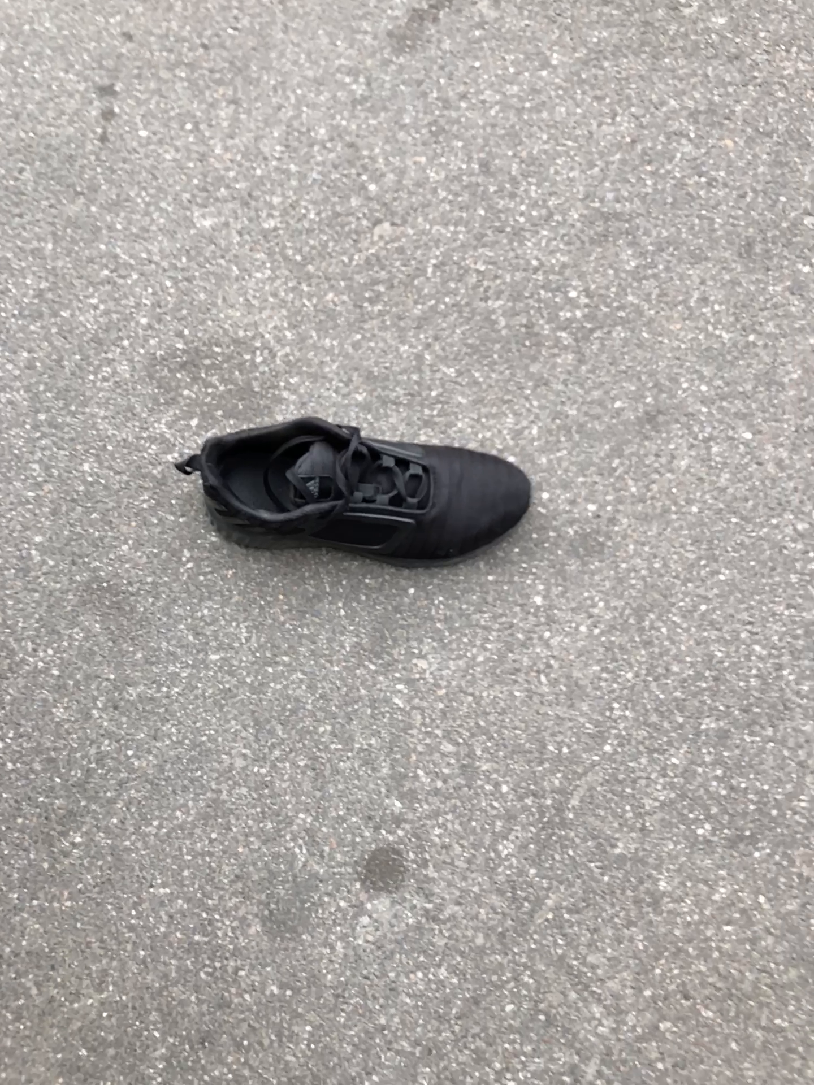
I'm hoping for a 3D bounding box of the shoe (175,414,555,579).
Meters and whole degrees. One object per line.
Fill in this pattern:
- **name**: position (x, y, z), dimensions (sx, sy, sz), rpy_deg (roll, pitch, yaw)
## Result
- **shoe**: position (-0.028, -0.034, 0.724), dimensions (0.280, 0.110, 0.100), rpy_deg (2, 78, 3)
